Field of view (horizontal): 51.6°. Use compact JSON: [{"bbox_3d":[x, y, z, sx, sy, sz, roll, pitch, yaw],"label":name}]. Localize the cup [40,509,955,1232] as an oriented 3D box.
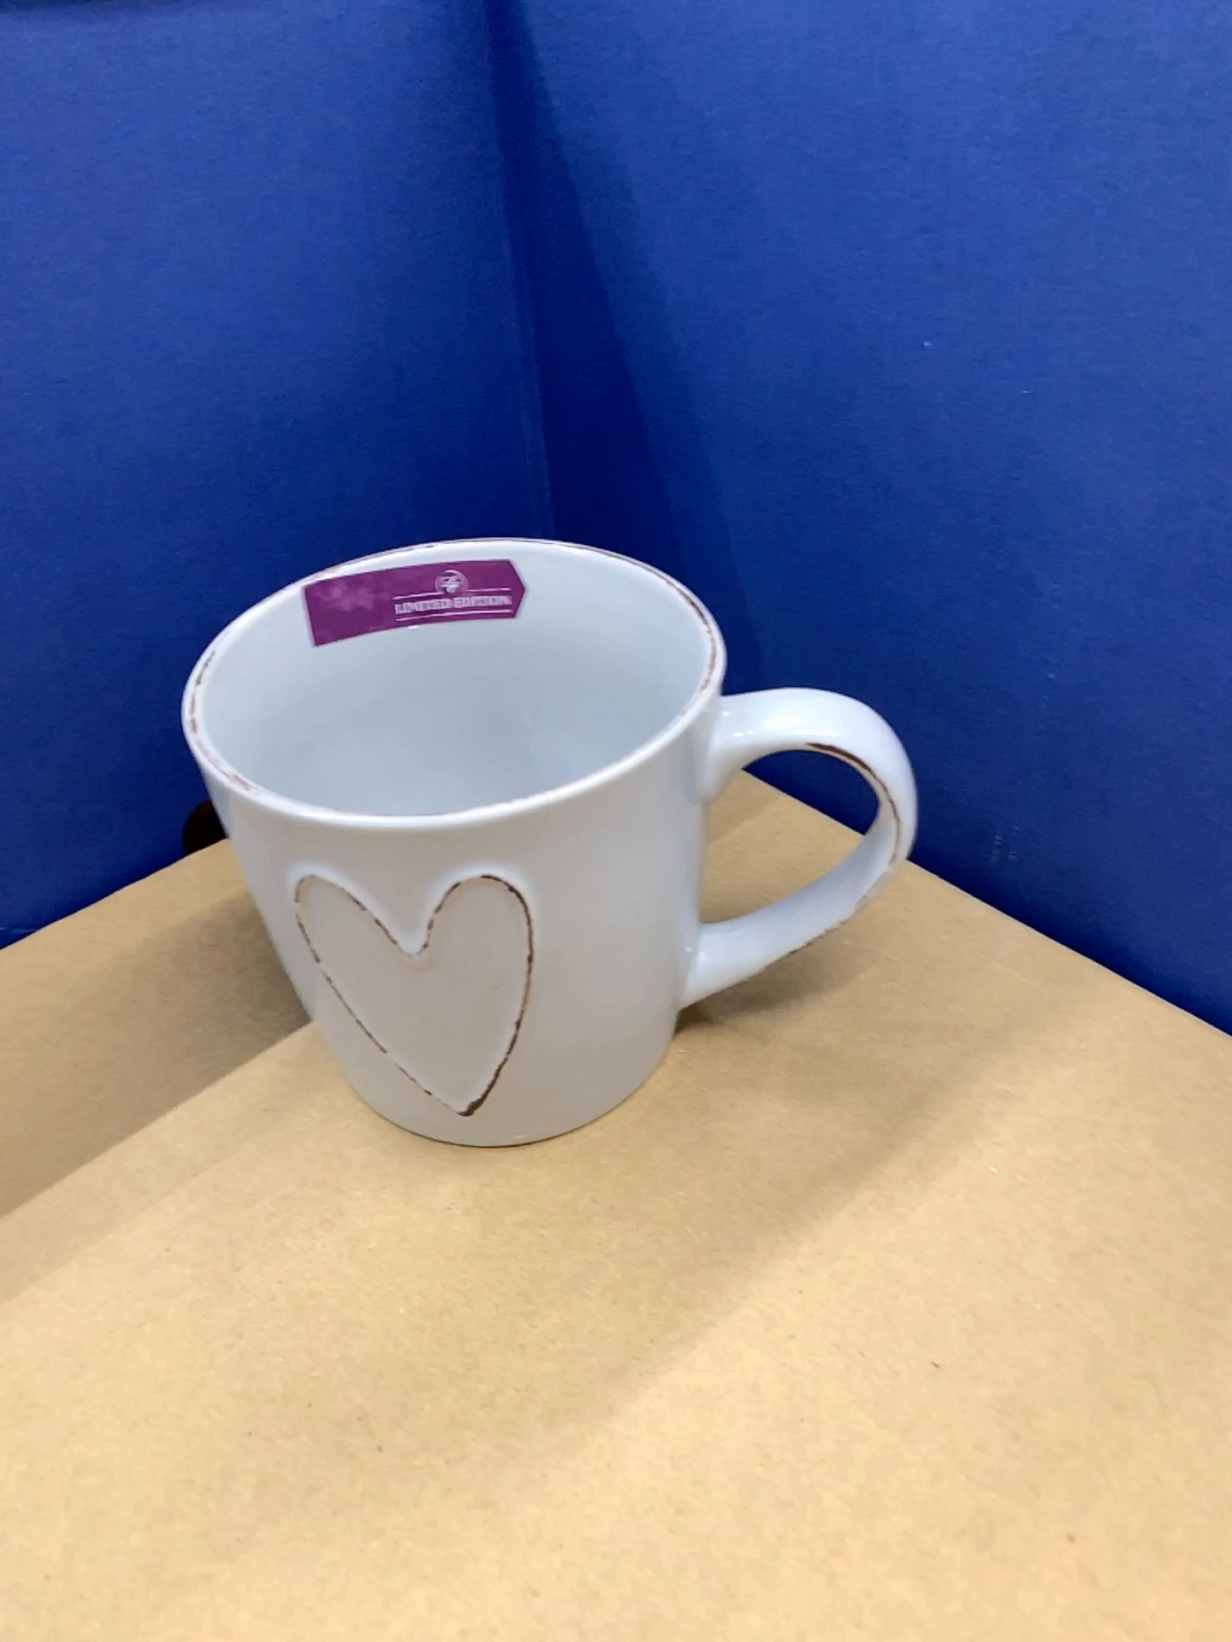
[{"bbox_3d":[-0.016,0.005,0.234,0.124,0.085,0.091,-5,35,-1],"label":"cup"}]
